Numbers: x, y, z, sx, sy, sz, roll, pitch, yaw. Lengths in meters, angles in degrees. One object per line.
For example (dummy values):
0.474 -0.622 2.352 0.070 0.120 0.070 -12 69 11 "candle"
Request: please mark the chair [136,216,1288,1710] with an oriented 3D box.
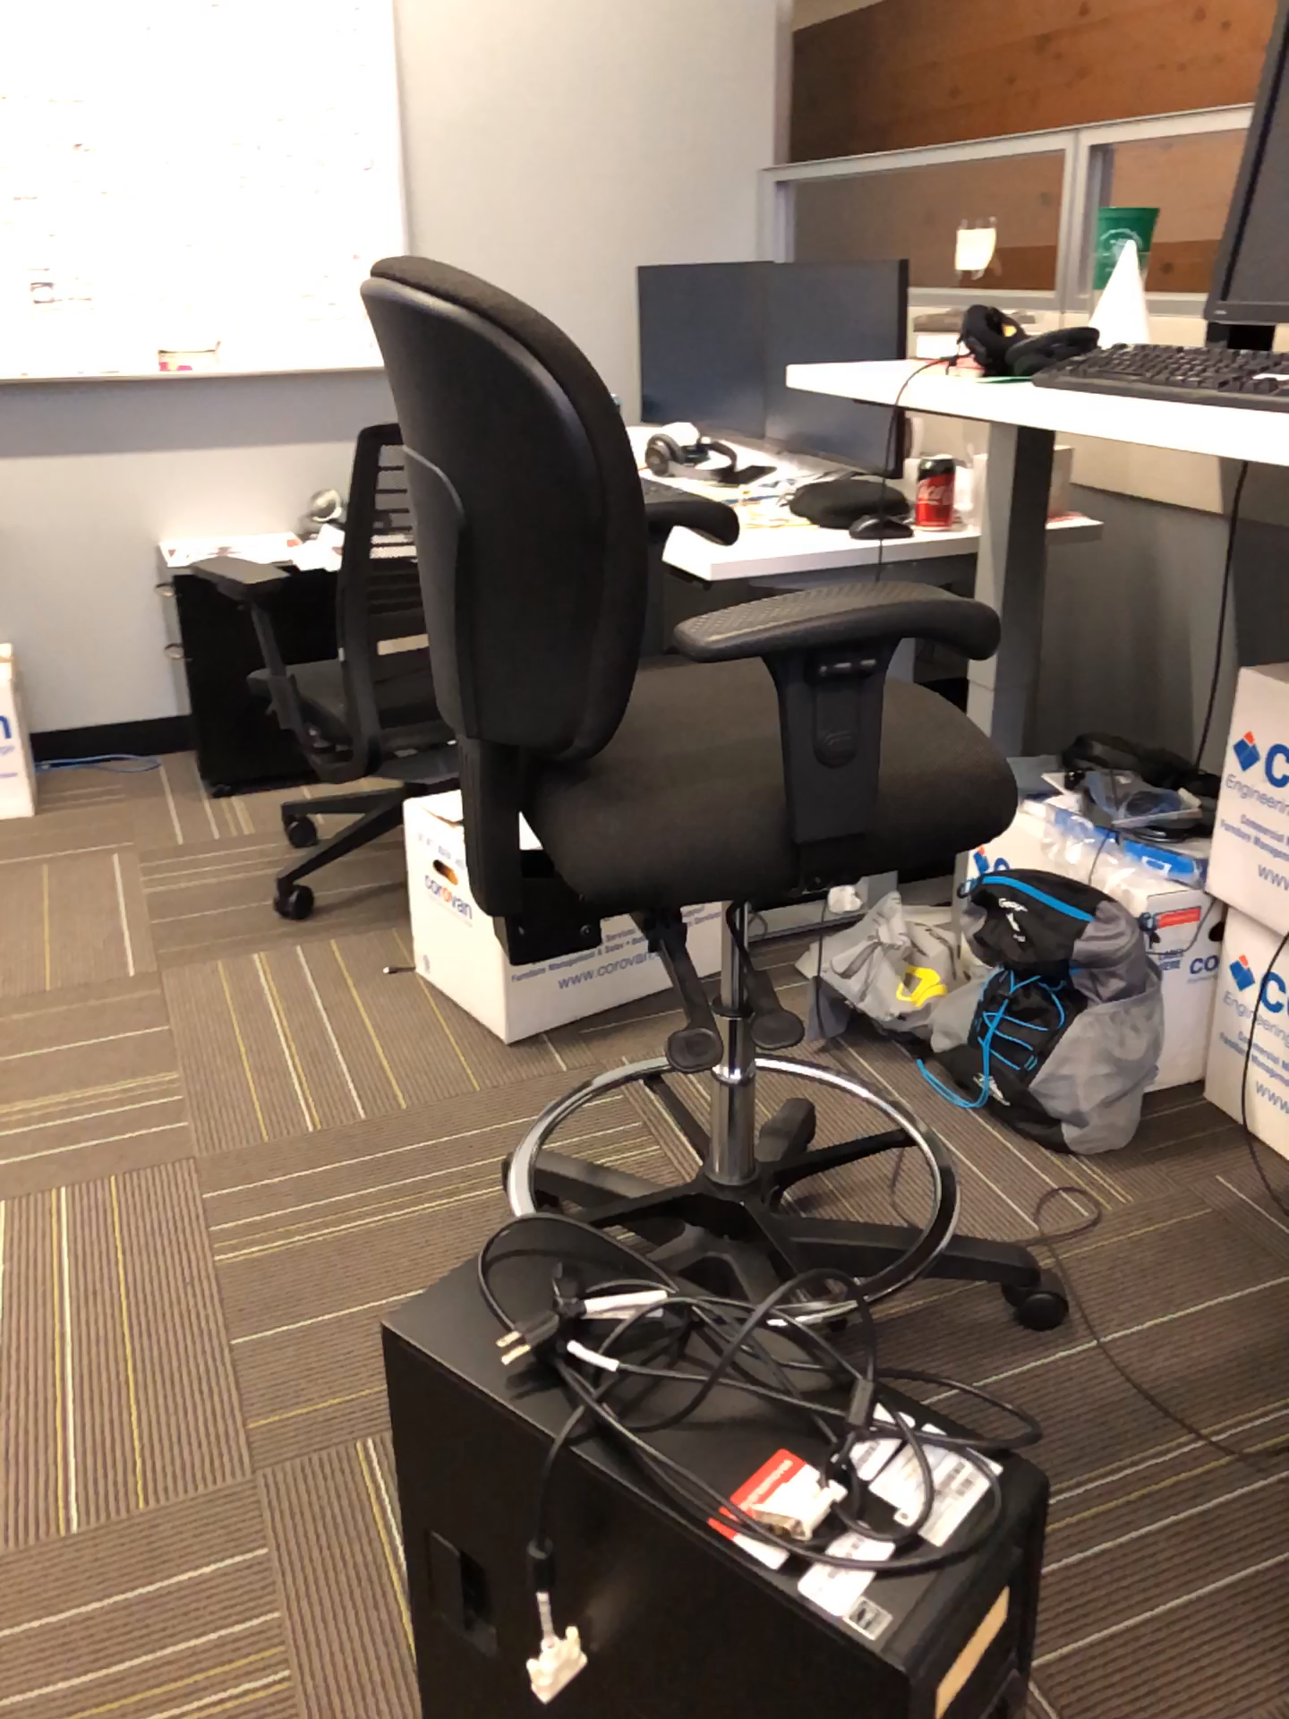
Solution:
0.088 -0.055 1.489 0.961 1.105 0.893 -10 24 -21 "chair"
